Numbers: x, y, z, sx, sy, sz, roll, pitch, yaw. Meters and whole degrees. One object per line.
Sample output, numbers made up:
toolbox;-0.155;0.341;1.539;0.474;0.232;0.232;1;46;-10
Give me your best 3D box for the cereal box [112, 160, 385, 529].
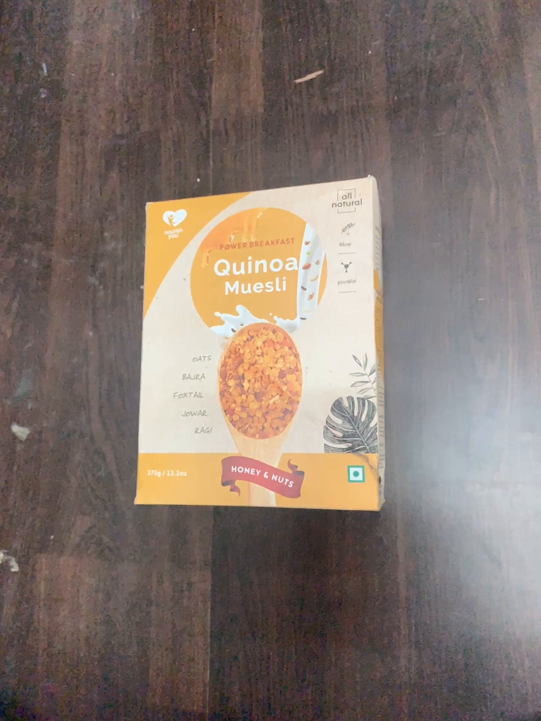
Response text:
cereal box;-0.012;-0.008;0.380;0.170;0.060;0.220;-2;83;15
